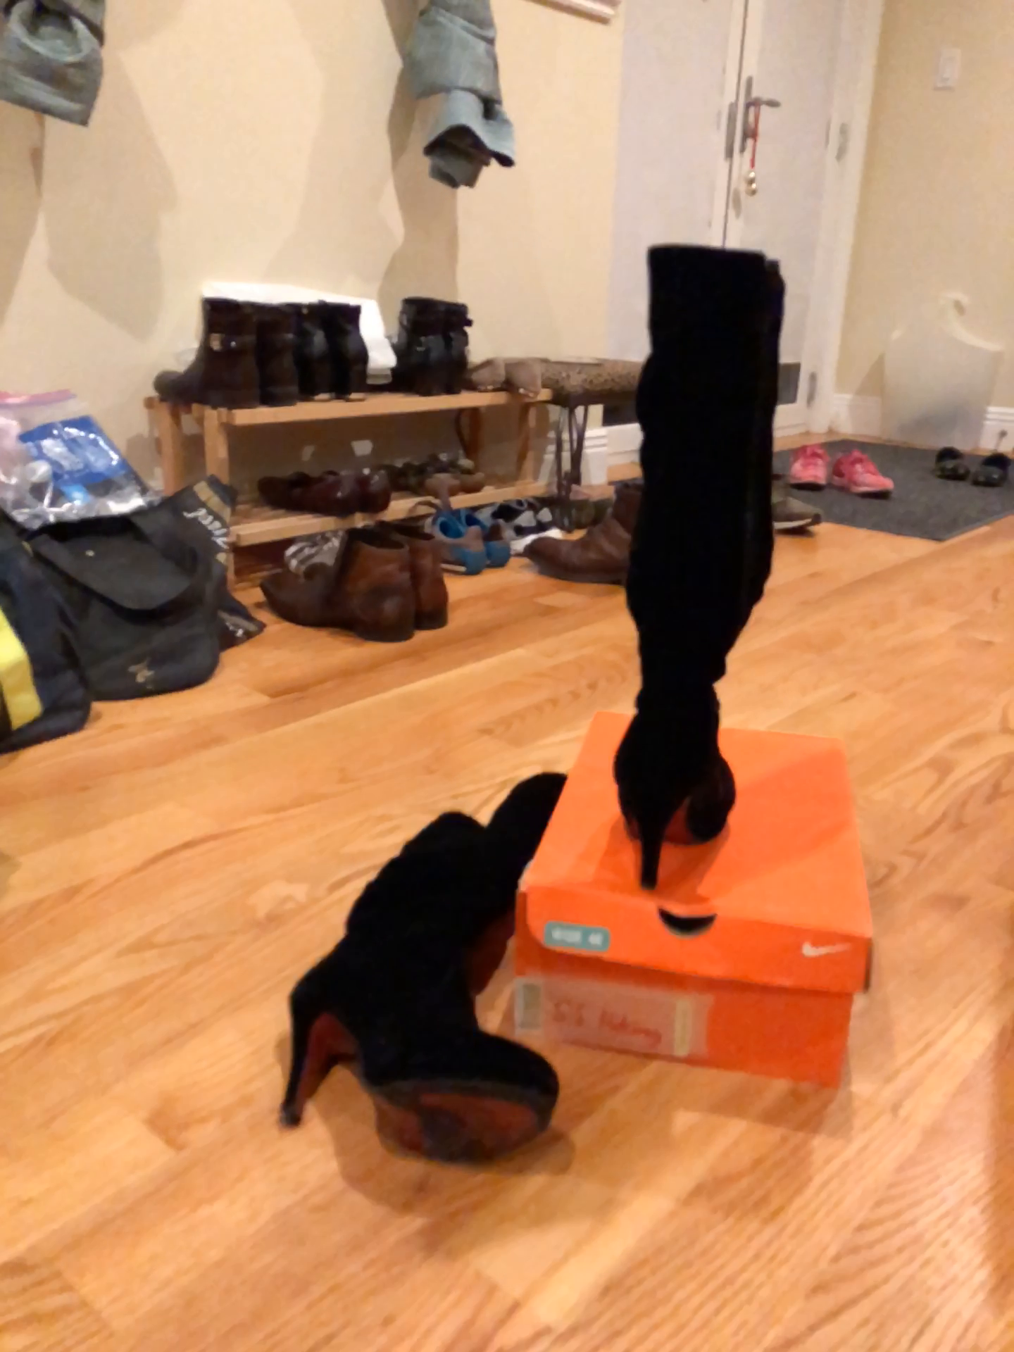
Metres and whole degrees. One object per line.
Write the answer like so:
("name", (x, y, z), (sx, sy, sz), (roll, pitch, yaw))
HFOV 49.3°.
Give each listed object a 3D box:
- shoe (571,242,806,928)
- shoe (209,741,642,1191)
("shoe", (0.123, -0.070, 0.735), (0.089, 0.397, 0.217), (8, 20, 16))
("shoe", (-0.026, 0.172, 0.805), (0.206, 0.089, 0.401), (4, 20, 11))
